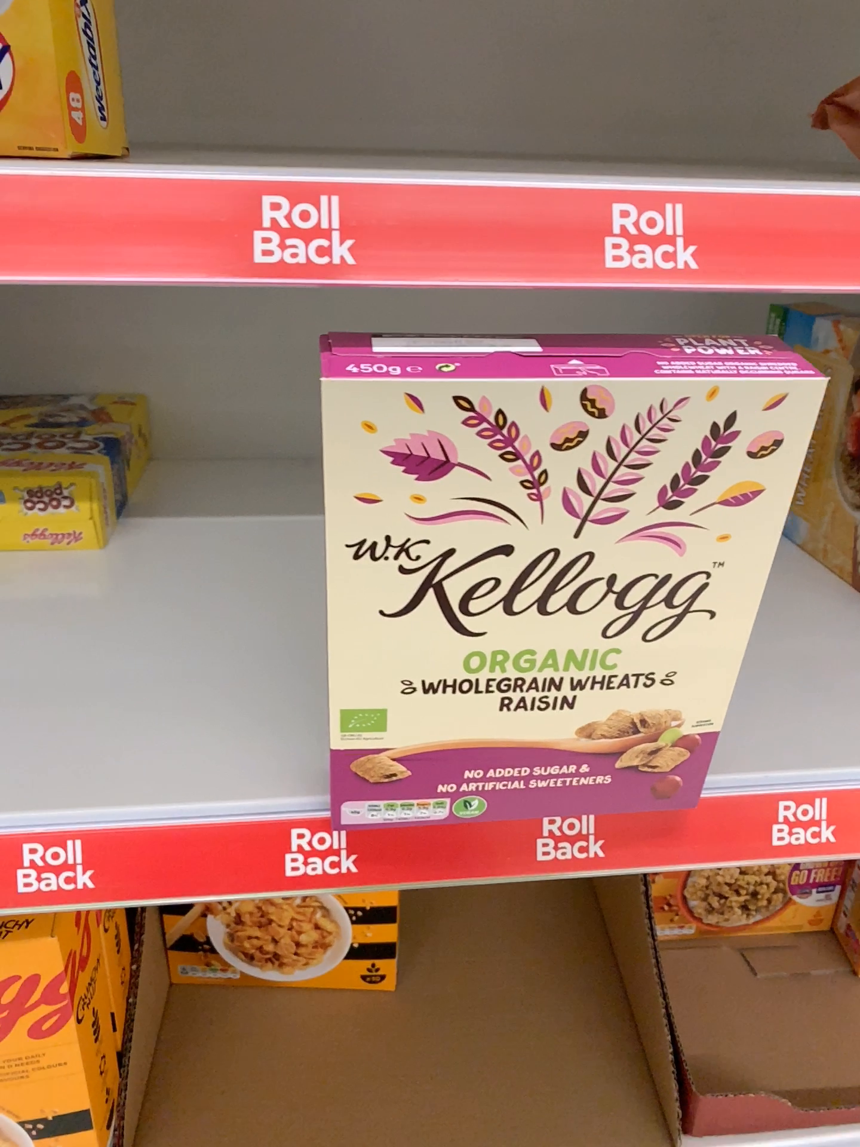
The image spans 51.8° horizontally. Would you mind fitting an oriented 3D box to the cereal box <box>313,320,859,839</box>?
[{"bbox_3d":[0.055,0.008,0.386,0.200,0.218,0.061,-2,32,-6],"label":"cereal box"}]
